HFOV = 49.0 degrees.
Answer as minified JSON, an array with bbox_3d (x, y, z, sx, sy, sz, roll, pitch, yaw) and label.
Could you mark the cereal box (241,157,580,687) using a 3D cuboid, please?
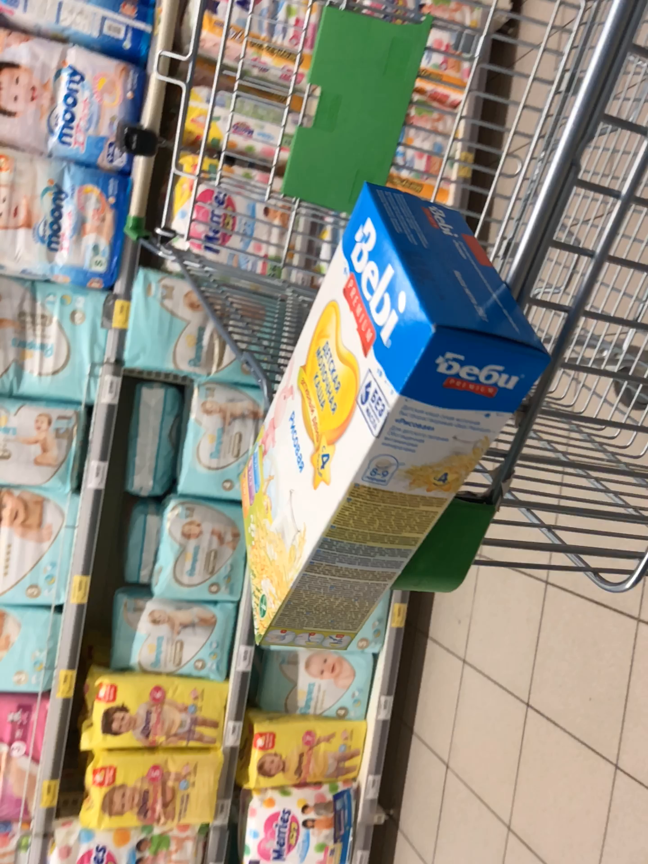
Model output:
[{"bbox_3d":[0.016,0.001,0.350,0.150,0.050,0.210,-98,28,-47],"label":"cereal box"}]
